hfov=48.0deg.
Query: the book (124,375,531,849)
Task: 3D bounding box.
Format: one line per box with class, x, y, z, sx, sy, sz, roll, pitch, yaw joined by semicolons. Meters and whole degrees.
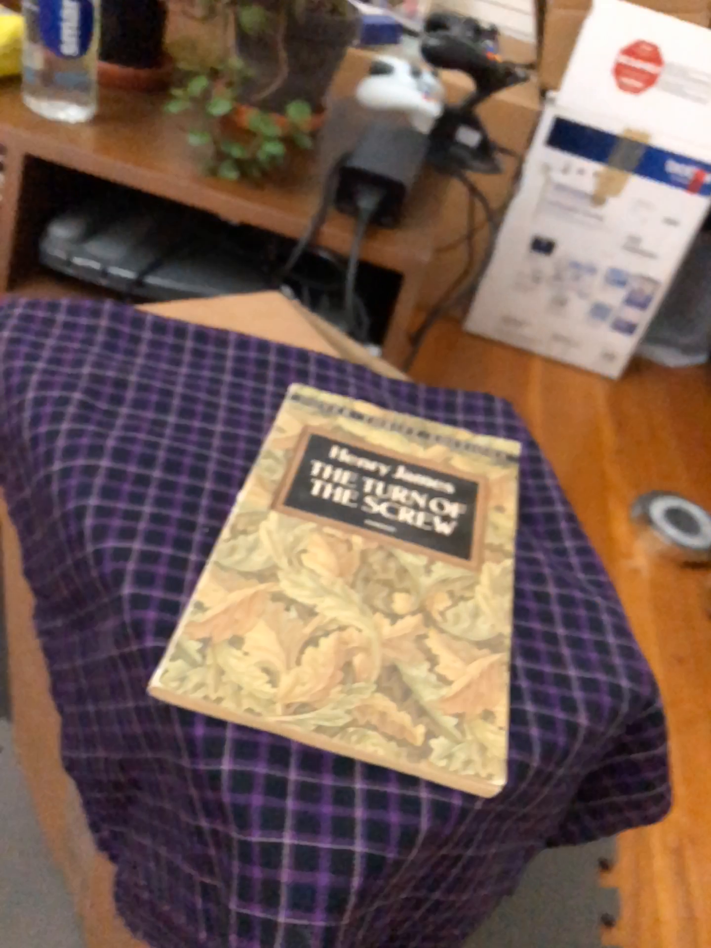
book;0.009;0.037;0.353;0.140;0.010;0.221;17;39;-1
